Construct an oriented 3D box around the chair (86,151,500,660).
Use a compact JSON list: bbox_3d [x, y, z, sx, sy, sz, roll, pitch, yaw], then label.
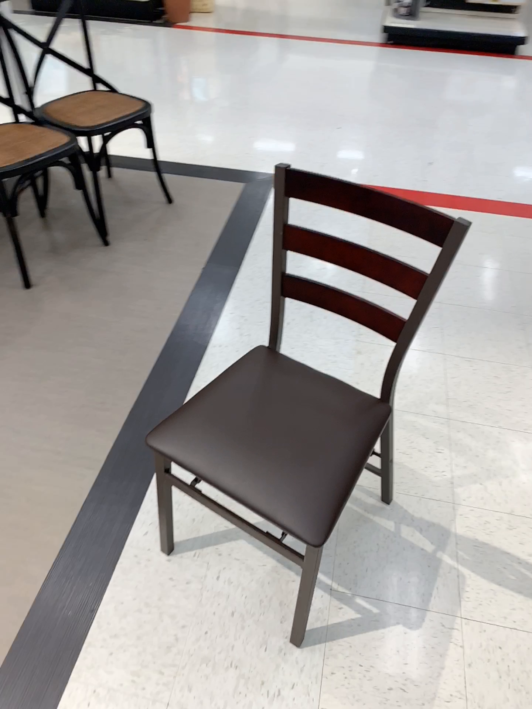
[{"bbox_3d":[0.058,0.123,1.128,0.441,0.826,0.522,26,48,23],"label":"chair"}]
